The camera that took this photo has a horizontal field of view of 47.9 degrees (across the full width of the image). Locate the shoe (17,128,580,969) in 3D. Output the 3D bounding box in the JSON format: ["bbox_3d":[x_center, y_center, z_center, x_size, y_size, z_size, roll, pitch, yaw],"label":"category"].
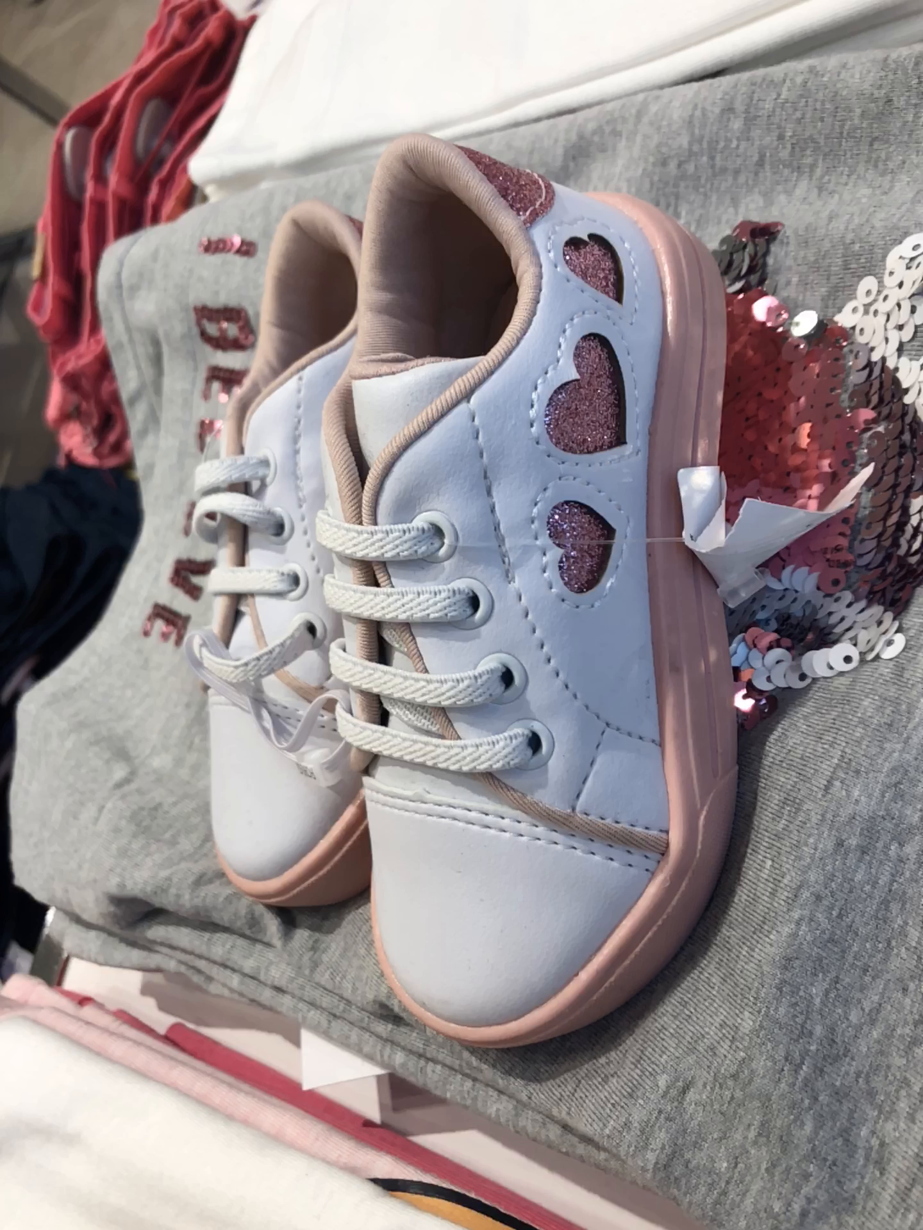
[{"bbox_3d":[-0.035,-0.012,0.231,0.070,0.070,0.150,9,88,40],"label":"shoe"}]

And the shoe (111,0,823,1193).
[{"bbox_3d":[0.006,-0.005,0.171,0.070,0.070,0.150,2,80,39],"label":"shoe"}]
